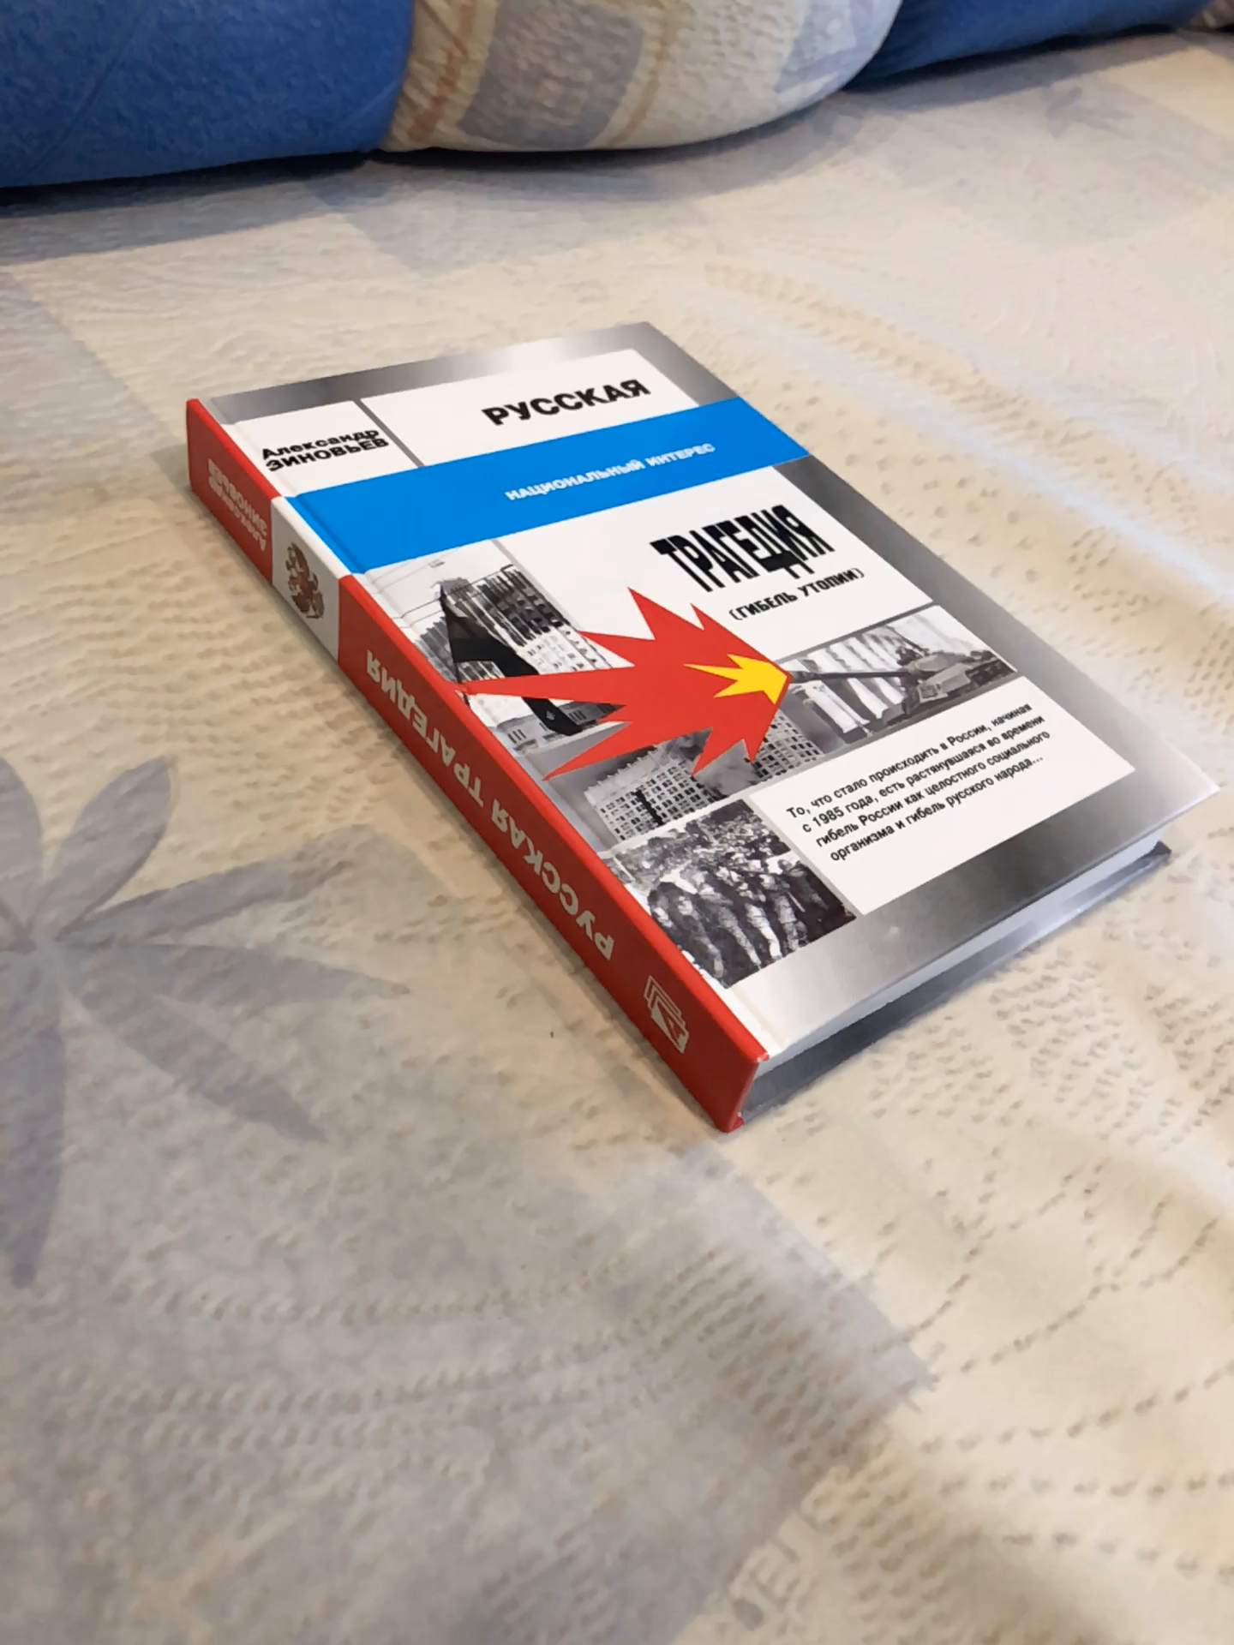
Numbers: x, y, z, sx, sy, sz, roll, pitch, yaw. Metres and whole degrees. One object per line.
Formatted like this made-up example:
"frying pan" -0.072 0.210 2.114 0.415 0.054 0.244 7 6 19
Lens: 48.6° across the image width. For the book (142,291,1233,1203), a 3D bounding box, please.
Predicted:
"book" 0.014 -0.042 0.309 0.161 0.040 0.201 -24 57 -30
